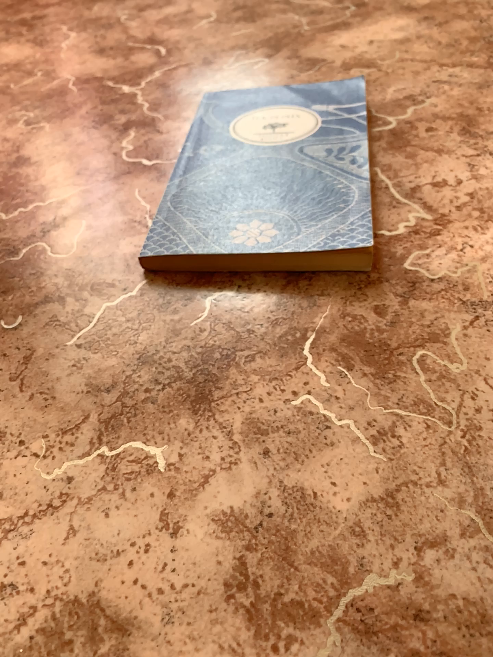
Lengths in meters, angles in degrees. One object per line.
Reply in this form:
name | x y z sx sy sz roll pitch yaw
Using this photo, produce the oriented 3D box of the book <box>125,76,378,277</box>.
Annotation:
book | 0.012 -0.106 0.326 0.125 0.015 0.204 1 47 9
